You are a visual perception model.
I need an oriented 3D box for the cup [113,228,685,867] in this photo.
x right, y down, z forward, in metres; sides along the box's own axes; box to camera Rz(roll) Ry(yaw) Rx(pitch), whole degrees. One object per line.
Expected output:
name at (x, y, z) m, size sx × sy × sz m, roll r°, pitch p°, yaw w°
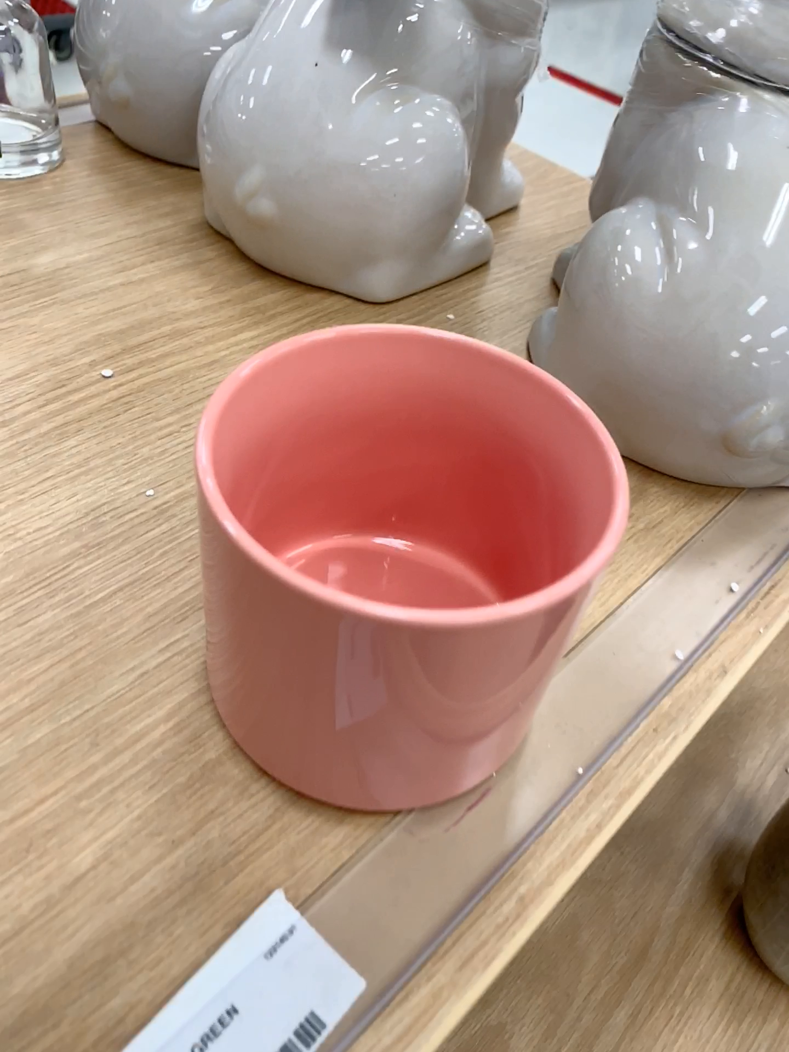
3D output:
cup at (0.006, -0.001, 0.222) m, size 0.104 × 0.085 × 0.133 m, roll 12°, pitch 46°, yaw 1°
